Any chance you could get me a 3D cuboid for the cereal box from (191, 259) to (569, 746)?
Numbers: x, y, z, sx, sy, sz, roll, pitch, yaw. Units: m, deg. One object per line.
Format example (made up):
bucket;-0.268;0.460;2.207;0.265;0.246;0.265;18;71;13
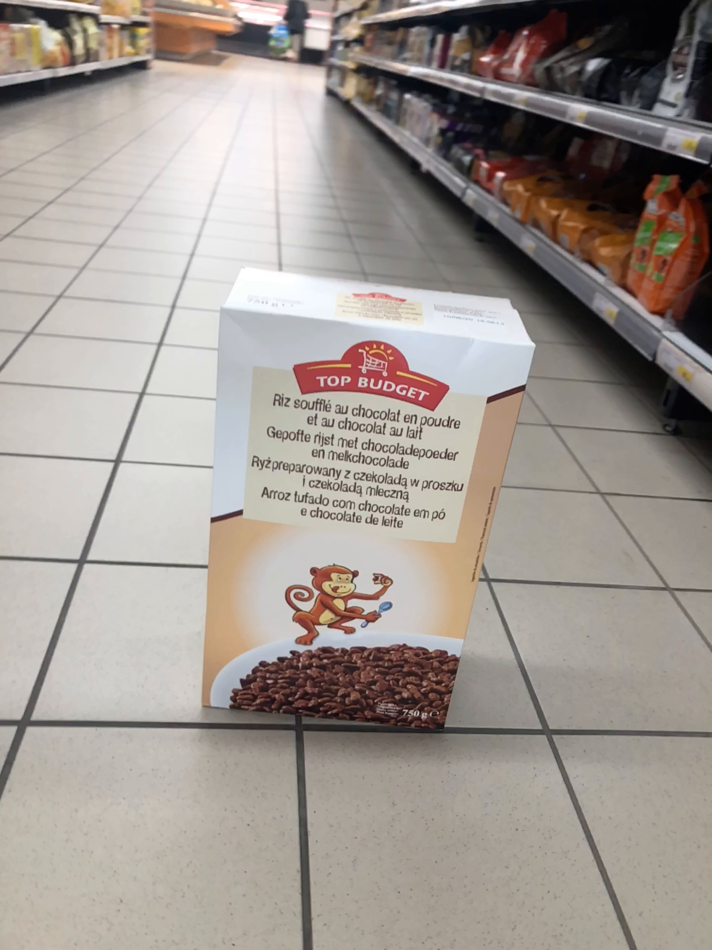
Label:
cereal box;0.001;0.028;0.574;0.210;0.318;0.111;7;27;-2
